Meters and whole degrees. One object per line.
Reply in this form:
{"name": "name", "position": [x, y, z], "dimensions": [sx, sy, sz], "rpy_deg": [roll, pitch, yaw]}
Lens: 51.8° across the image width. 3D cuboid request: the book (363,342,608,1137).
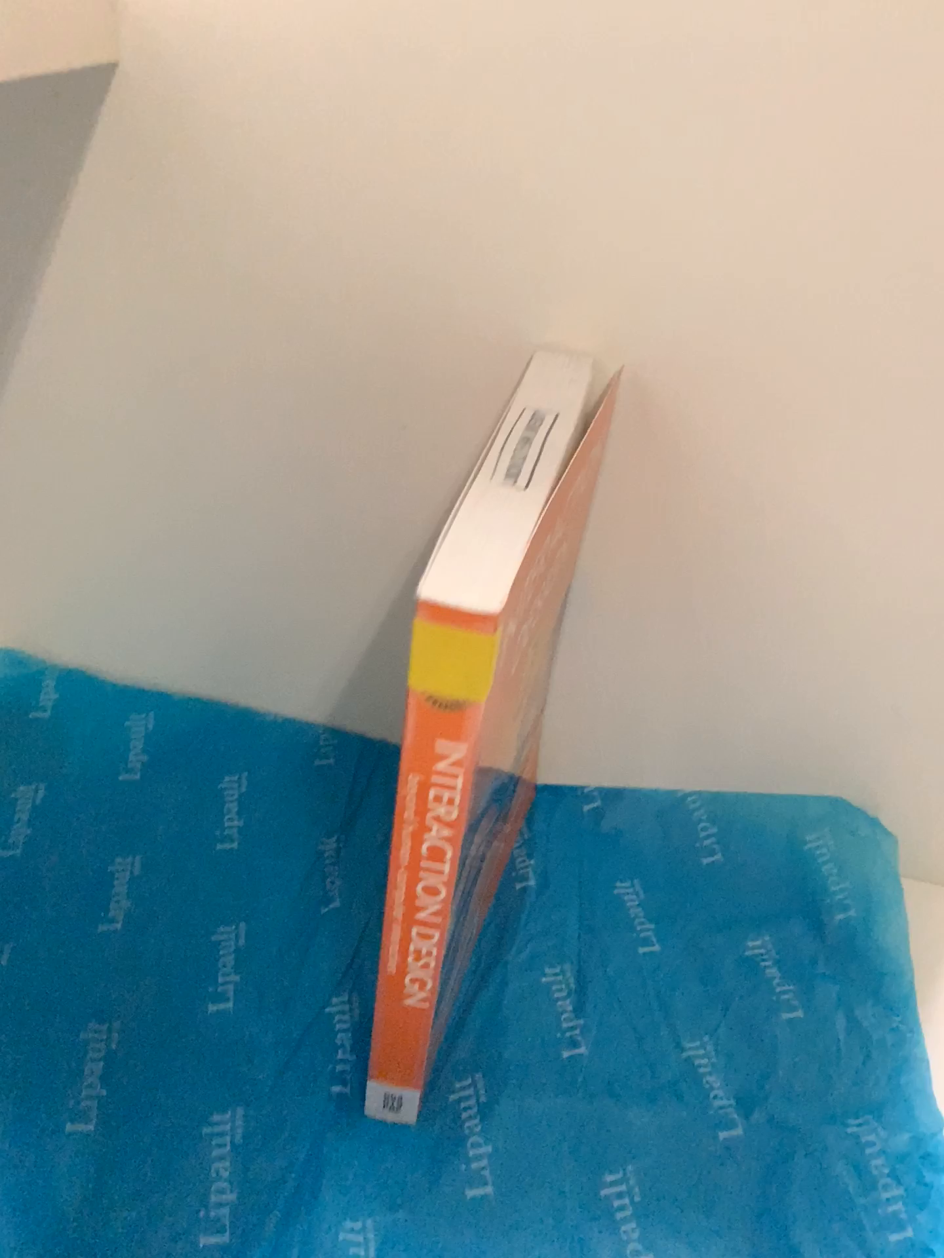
{"name": "book", "position": [0.006, 0.040, 0.388], "dimensions": [0.030, 0.247, 0.196], "rpy_deg": [12, 35, 6]}
